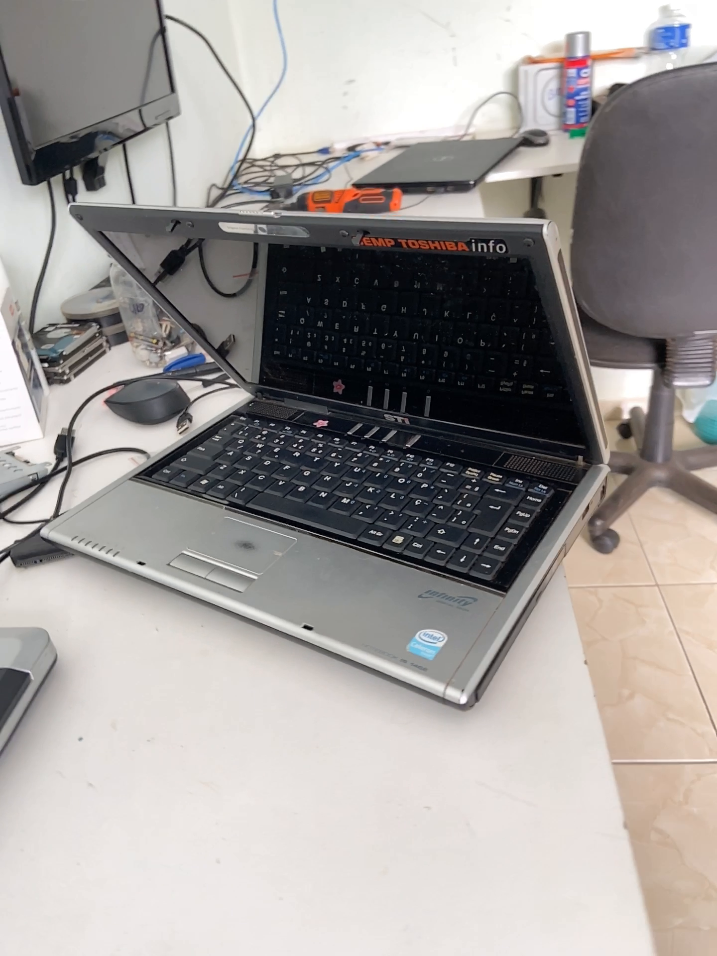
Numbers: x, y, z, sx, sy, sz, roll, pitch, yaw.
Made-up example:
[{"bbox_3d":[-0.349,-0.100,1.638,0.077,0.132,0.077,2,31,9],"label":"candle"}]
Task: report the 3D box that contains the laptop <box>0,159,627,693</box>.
[{"bbox_3d":[-0.039,-0.072,0.477,0.338,0.210,0.237,13,36,30],"label":"laptop"}]
